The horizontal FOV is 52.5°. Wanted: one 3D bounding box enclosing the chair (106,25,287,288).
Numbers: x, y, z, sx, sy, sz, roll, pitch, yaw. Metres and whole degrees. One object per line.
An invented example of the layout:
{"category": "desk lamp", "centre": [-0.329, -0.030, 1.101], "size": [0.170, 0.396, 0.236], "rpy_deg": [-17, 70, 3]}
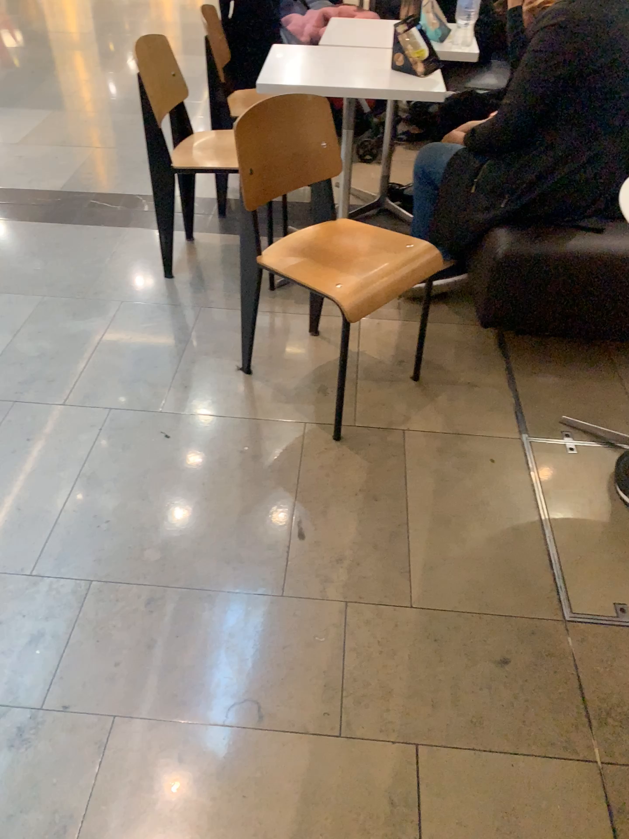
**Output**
{"category": "chair", "centre": [-0.379, -0.952, 2.351], "size": [0.494, 0.767, 0.431], "rpy_deg": [5, 42, 4]}

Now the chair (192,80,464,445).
{"category": "chair", "centre": [0.019, -0.431, 1.772], "size": [0.497, 0.767, 0.419], "rpy_deg": [33, 51, 30]}
